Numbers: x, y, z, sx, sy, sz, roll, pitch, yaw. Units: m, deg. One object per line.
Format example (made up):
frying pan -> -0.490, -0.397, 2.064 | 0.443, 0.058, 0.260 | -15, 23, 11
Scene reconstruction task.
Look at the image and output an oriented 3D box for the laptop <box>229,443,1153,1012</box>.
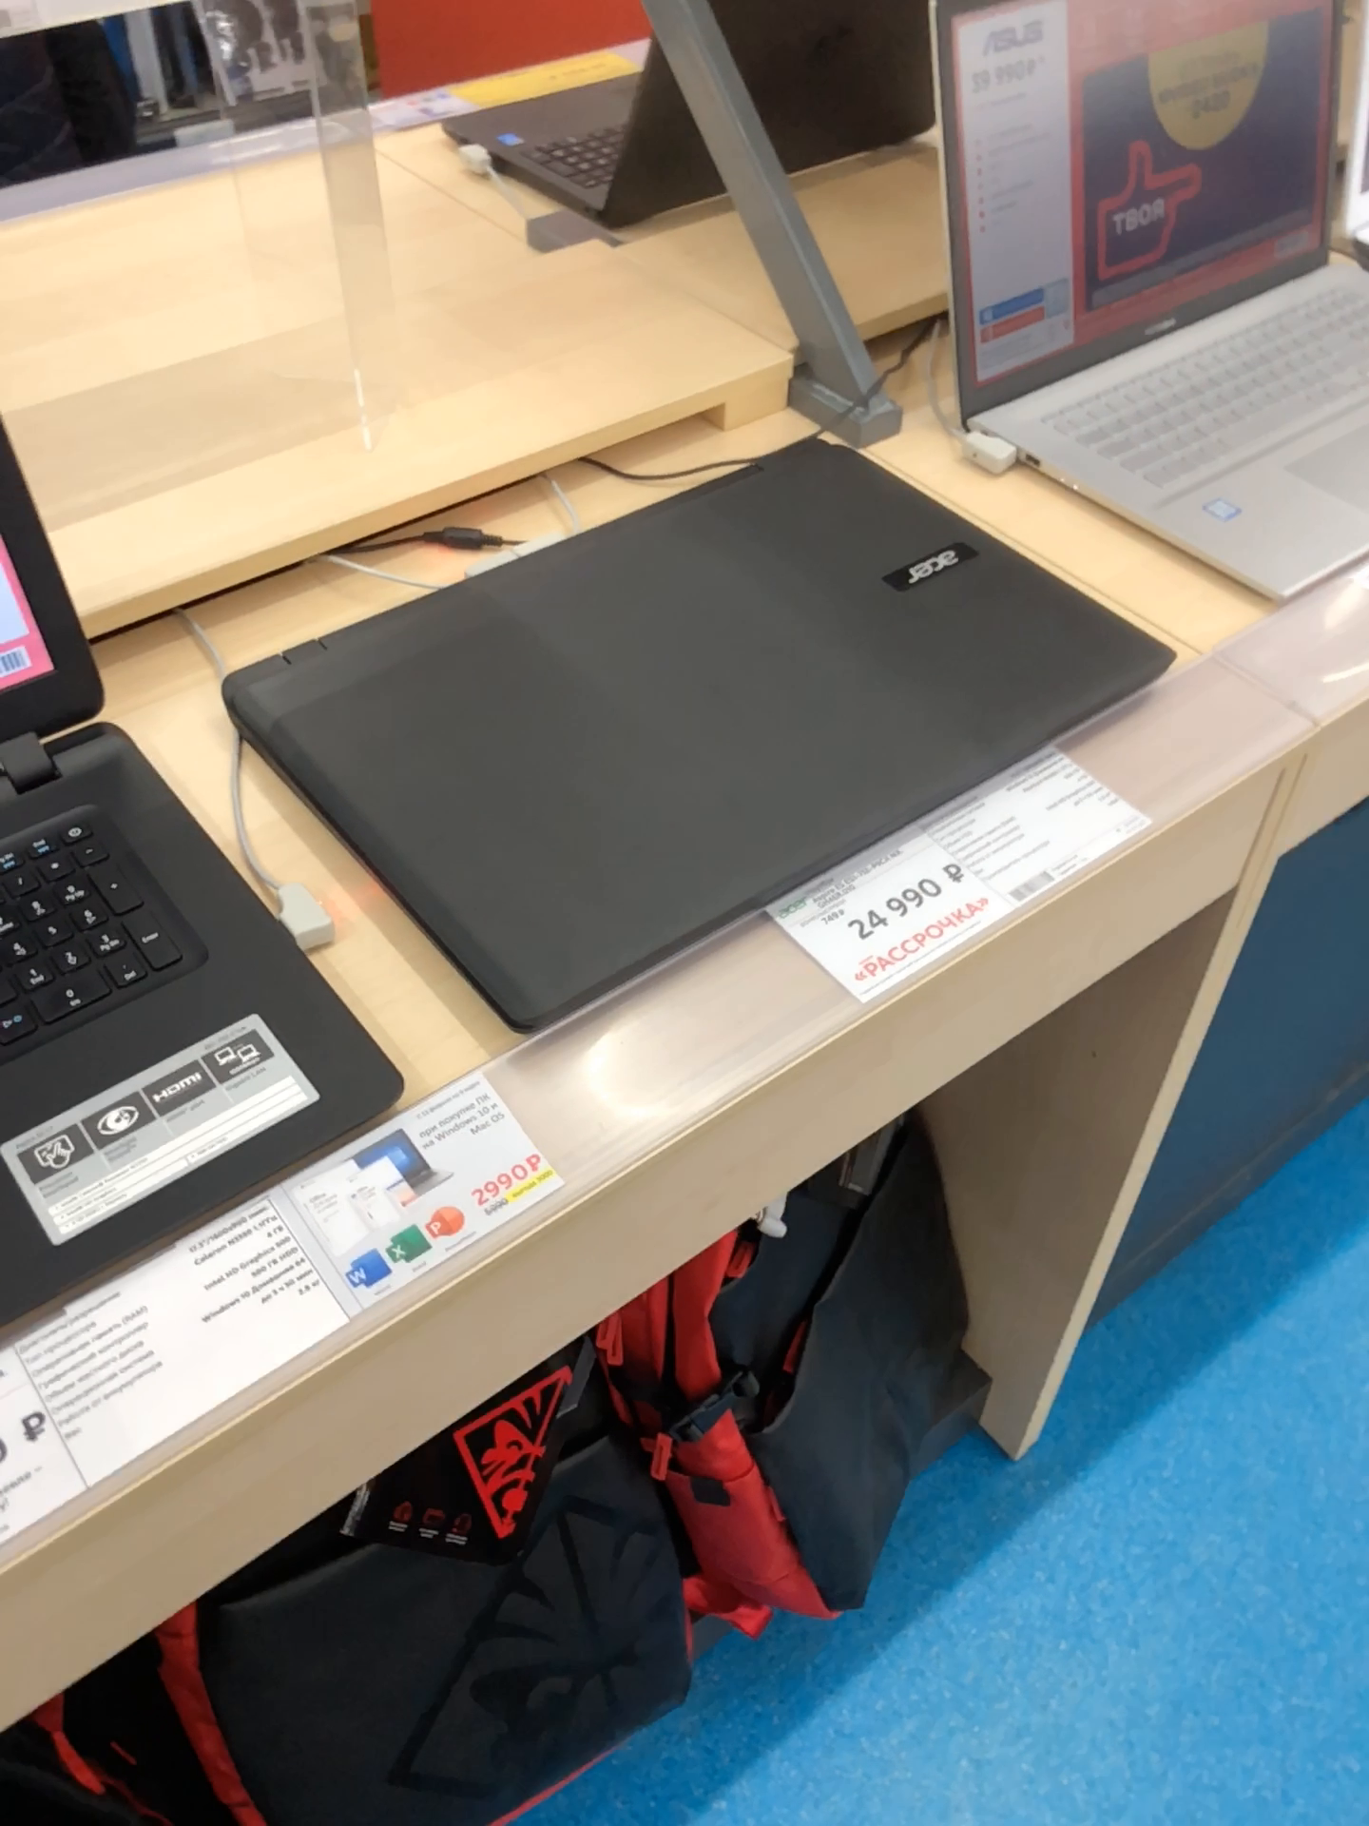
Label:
laptop -> 0.008, -0.129, 0.798 | 0.410, 0.005, 0.278 | -28, 53, -26
